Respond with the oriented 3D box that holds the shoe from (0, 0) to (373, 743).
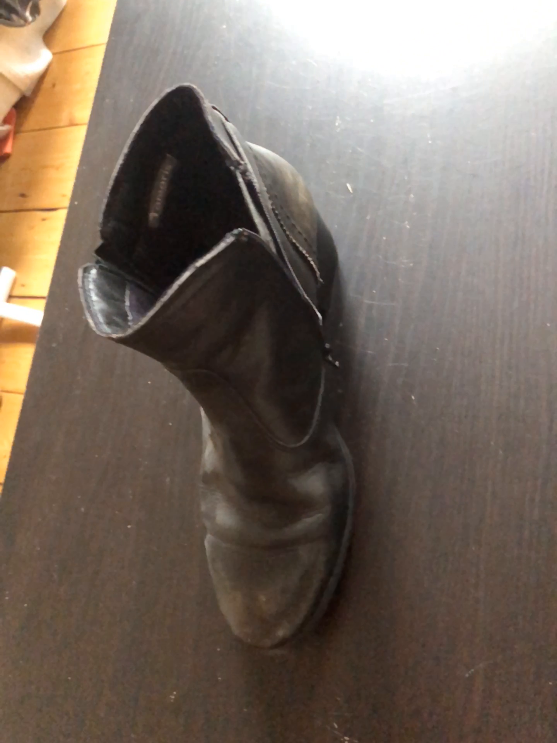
[{"bbox_3d":[-0.028,0.003,0.301,0.090,0.170,0.270,-2,76,25],"label":"shoe"}]
